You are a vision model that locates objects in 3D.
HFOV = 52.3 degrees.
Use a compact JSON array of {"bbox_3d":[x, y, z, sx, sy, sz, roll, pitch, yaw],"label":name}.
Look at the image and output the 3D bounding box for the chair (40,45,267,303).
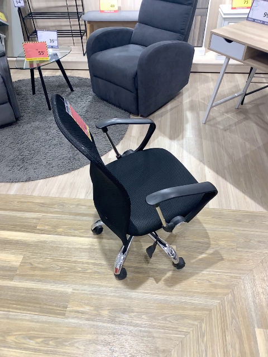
[{"bbox_3d":[0.034,-0.018,1.280,0.601,0.866,0.643,-19,47,-16],"label":"chair"}]
